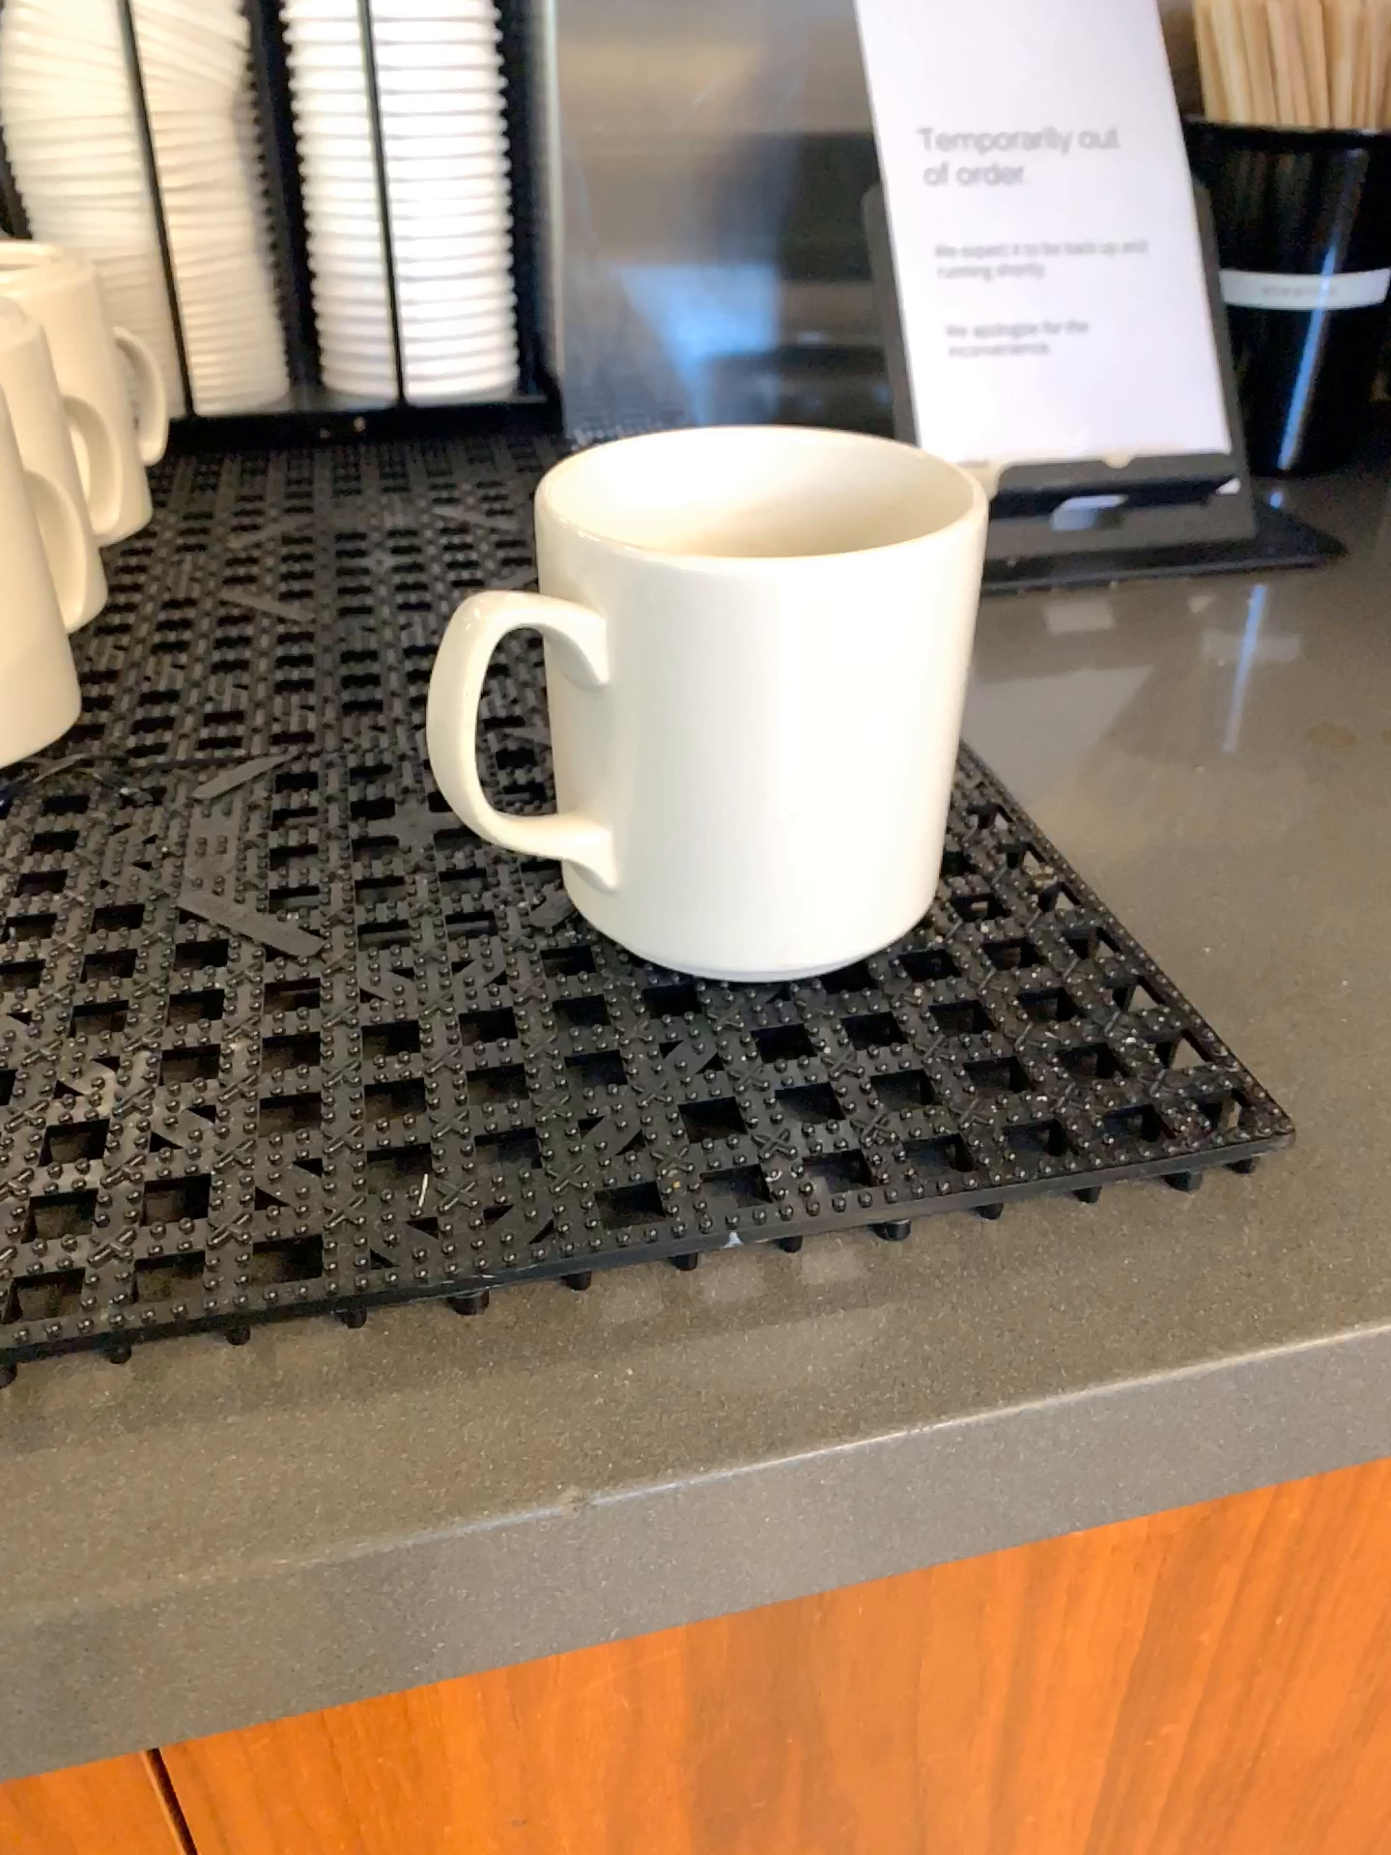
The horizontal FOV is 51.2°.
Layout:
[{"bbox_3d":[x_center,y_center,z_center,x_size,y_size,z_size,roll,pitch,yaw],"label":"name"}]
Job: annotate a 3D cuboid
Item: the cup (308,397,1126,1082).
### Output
[{"bbox_3d":[0.004,-0.046,0.288,0.120,0.080,0.090,-22,39,-29],"label":"cup"}]
